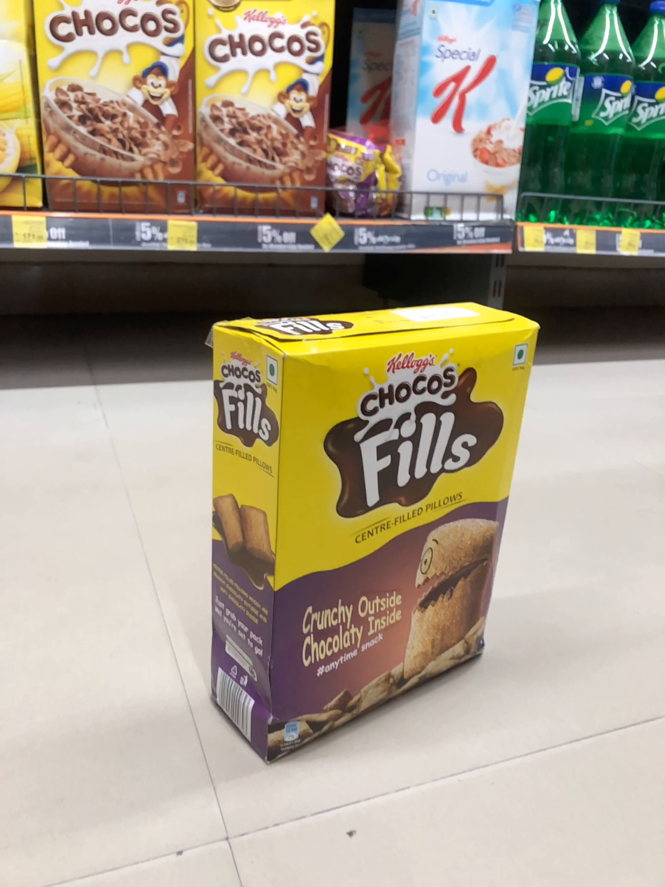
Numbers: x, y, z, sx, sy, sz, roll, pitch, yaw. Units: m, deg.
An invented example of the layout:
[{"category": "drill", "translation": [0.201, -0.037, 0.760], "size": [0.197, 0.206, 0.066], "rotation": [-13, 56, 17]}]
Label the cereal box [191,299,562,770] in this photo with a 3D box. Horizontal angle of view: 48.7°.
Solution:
[{"category": "cereal box", "translation": [0.023, 0.038, 0.428], "size": [0.191, 0.219, 0.080], "rotation": [-11, 25, -35]}]
